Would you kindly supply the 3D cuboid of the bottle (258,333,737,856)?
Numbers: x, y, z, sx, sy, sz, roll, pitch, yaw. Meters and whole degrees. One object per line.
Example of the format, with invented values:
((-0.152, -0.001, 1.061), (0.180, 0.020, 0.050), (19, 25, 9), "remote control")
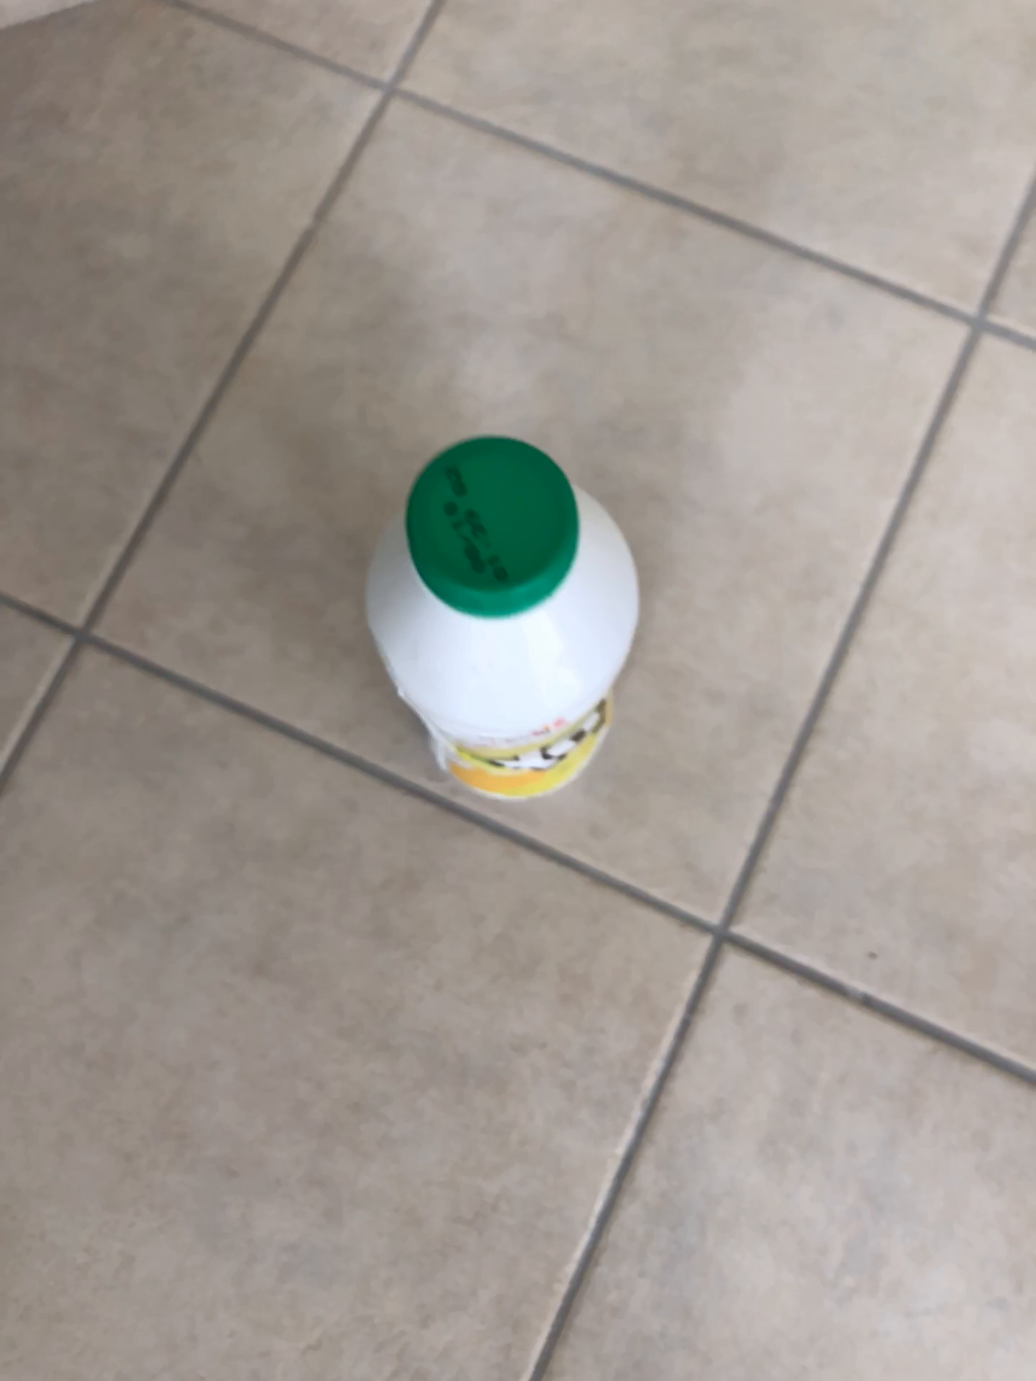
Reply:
((-0.003, -0.009, 0.386), (0.080, 0.230, 0.080), (0, 78, 1), "bottle")
